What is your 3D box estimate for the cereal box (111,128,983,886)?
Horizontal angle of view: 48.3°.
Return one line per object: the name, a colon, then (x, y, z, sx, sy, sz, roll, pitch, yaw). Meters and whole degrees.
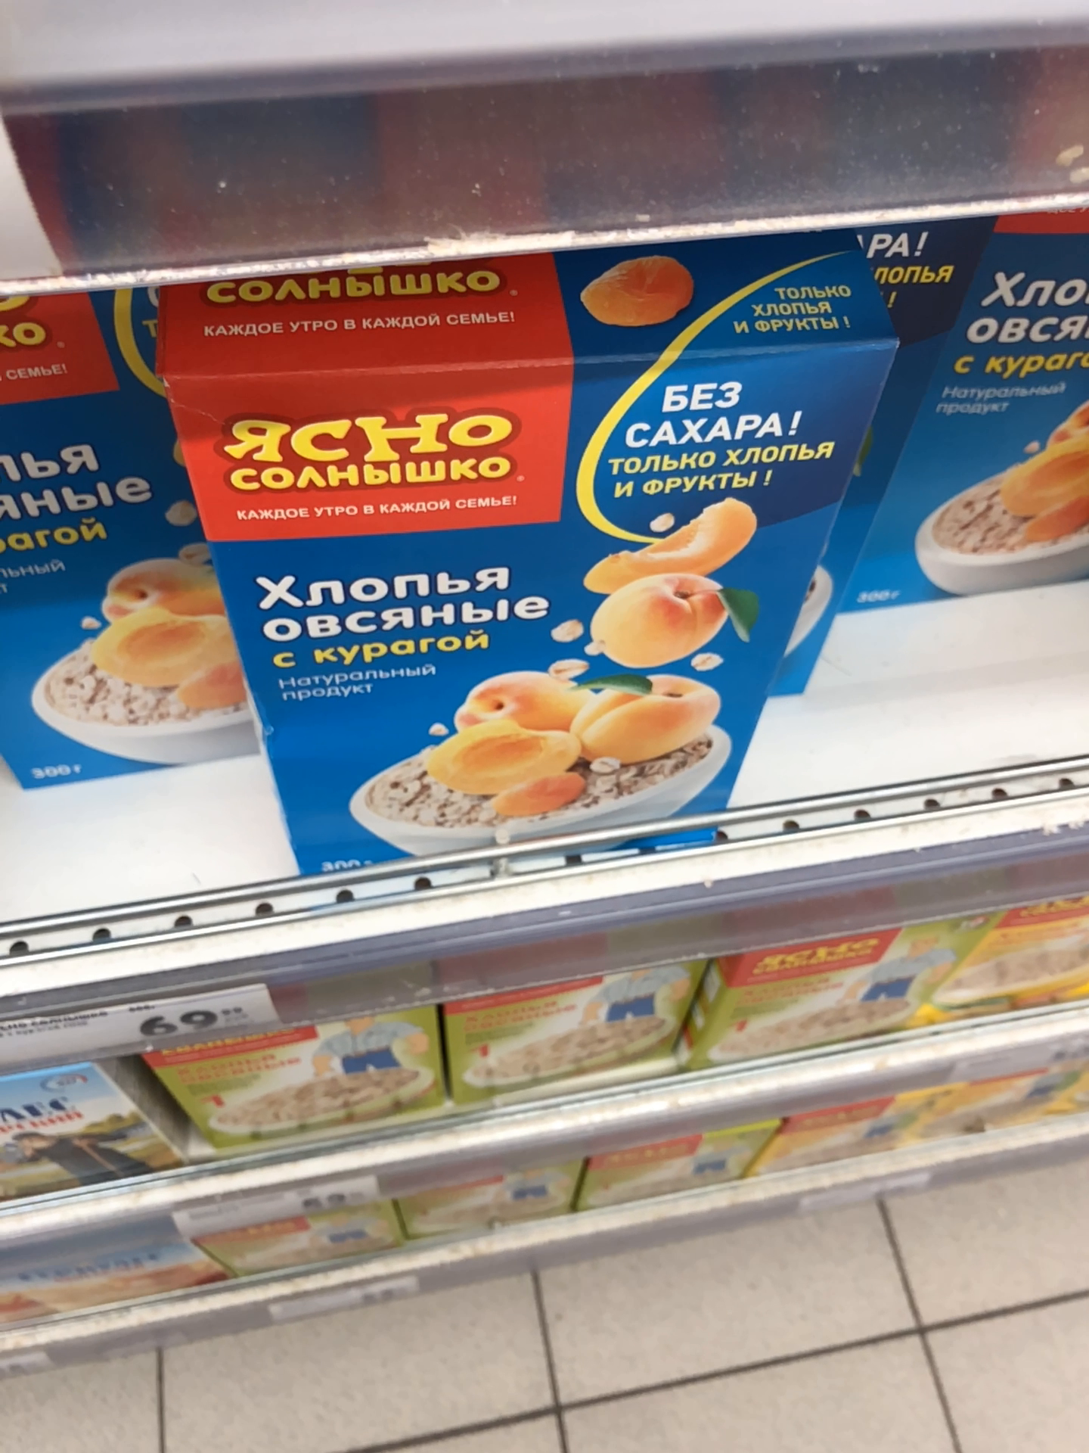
cereal box: (-0.004, -0.035, 0.309, 0.150, 0.209, 0.050, -6, 58, -6)
